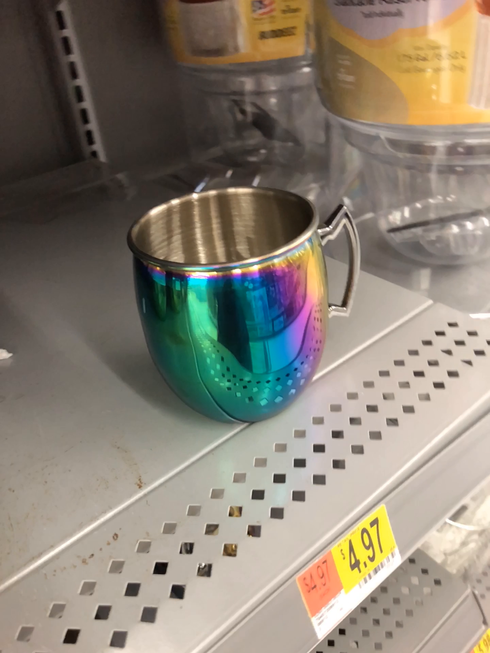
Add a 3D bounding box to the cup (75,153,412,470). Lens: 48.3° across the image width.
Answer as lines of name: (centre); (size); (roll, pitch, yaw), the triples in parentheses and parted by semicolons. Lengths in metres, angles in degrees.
cup: (0.002, -0.019, 0.301); (0.133, 0.097, 0.104); (-28, 41, -28)
